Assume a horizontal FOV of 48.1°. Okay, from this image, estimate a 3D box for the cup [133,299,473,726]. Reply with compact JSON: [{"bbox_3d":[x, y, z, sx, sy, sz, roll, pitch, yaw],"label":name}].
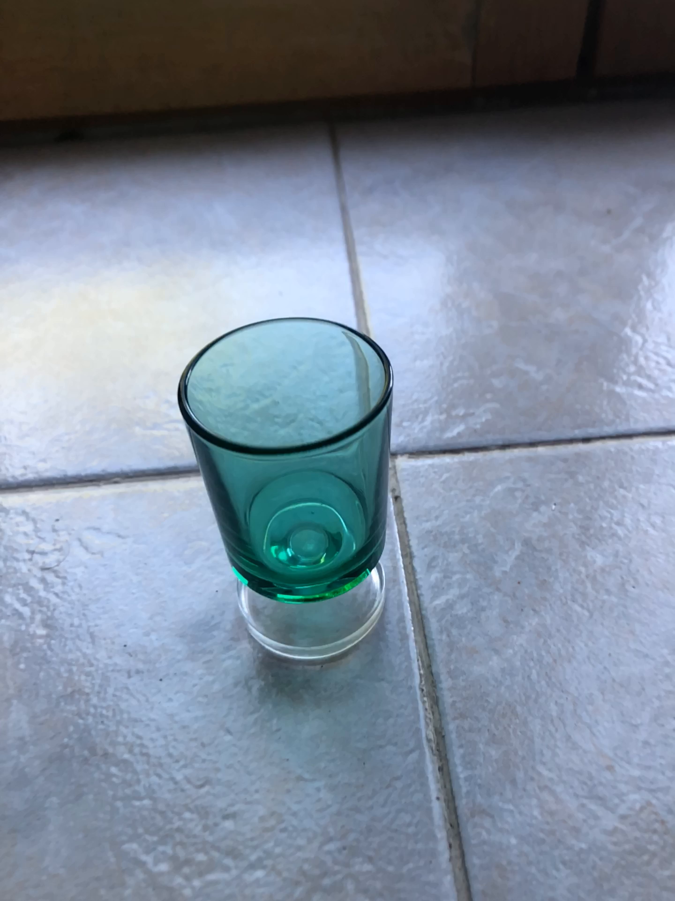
[{"bbox_3d":[-0.005,0.014,0.163,0.045,0.068,0.044,-2,46,2],"label":"cup"}]
